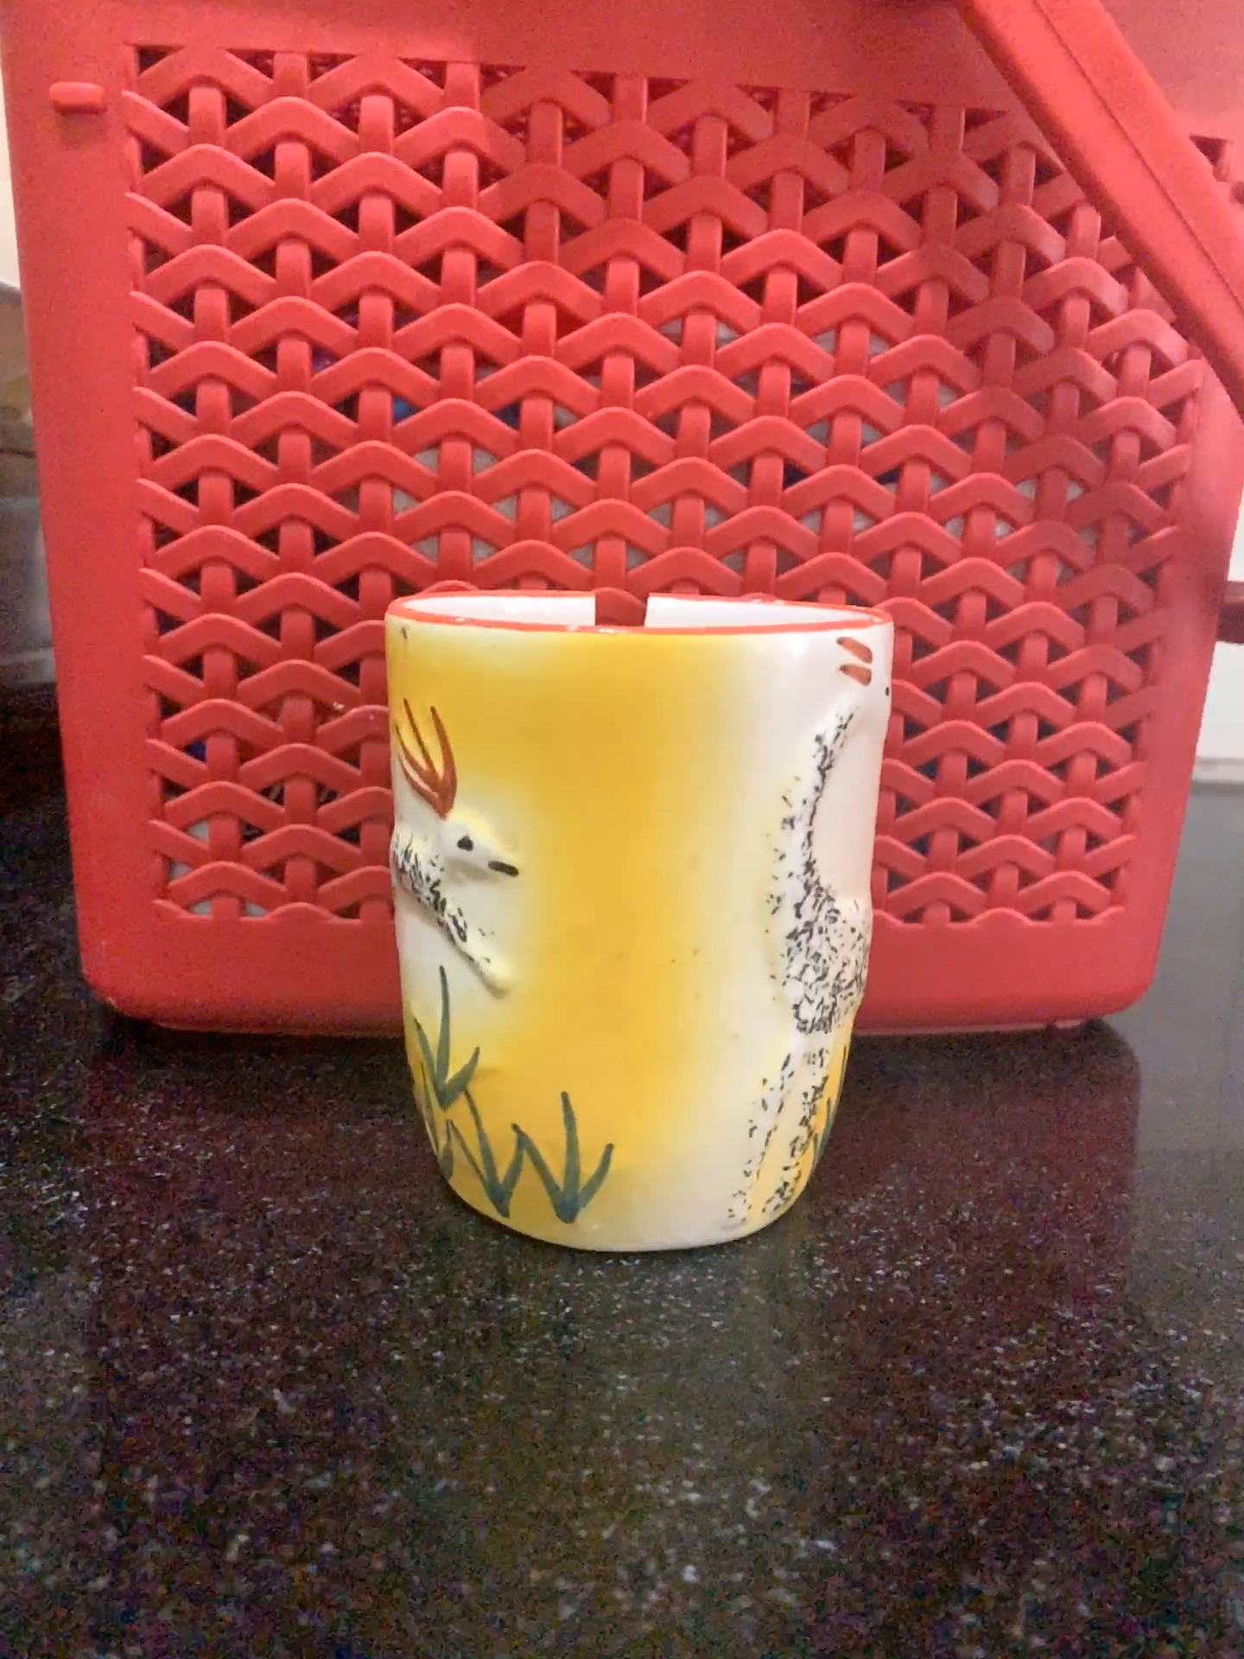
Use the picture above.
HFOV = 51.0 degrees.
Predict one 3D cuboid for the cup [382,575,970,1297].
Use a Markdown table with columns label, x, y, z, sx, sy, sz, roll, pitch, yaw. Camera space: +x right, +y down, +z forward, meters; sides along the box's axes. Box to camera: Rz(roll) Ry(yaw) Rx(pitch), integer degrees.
| label | x | y | z | sx | sy | sz | roll | pitch | yaw |
| --- | --- | --- | --- | --- | --- | --- | --- | --- | --- |
| cup | 0.000 | 0.010 | 0.224 | 0.080 | 0.100 | 0.080 | 3 | 12 | -1 |
